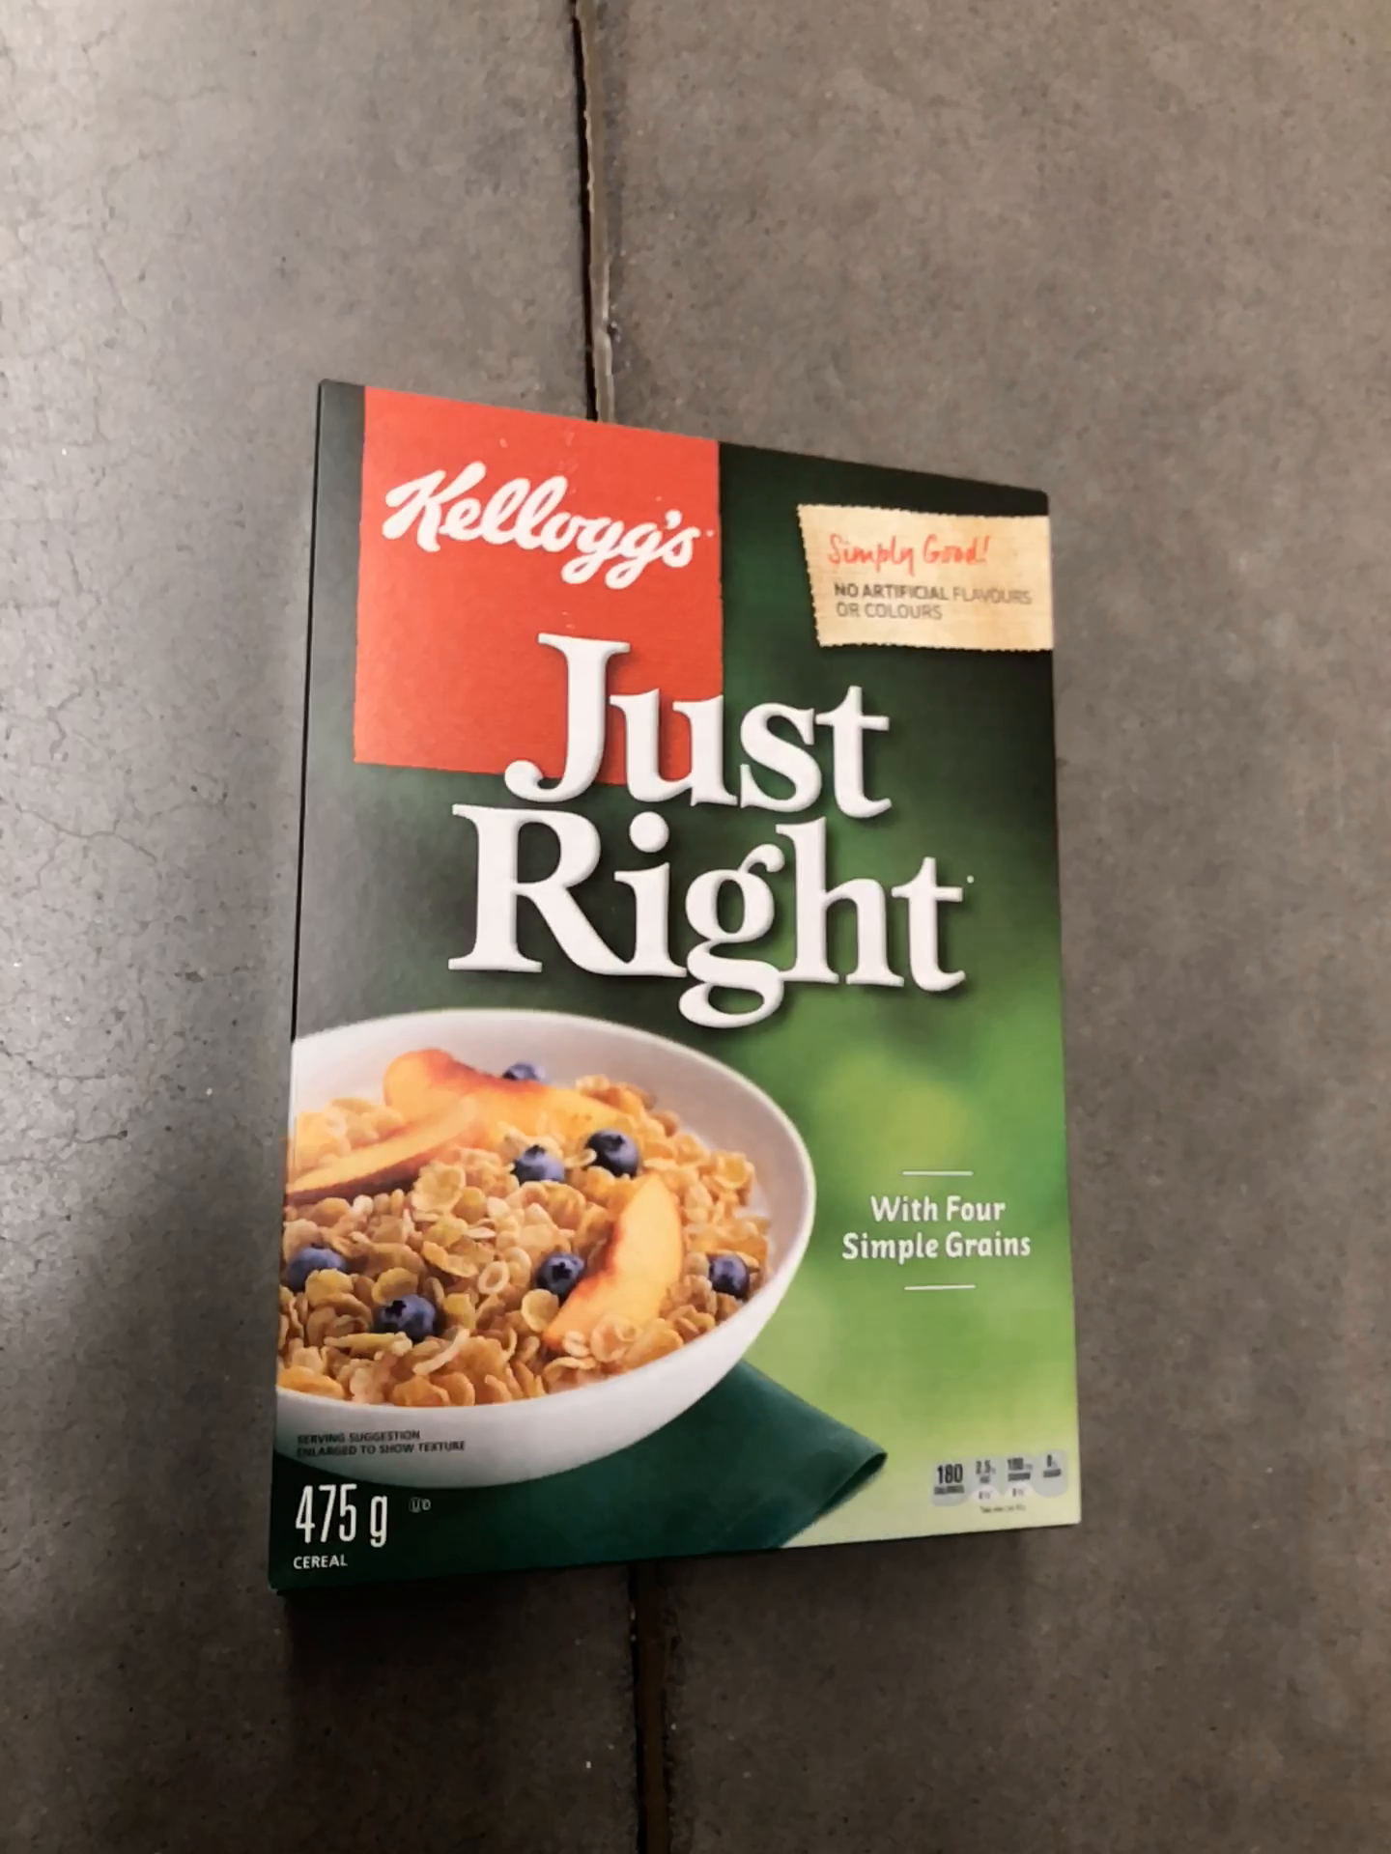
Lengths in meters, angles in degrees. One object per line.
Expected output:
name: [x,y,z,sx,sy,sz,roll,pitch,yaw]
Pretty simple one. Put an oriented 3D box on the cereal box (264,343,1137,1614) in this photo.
cereal box: [0.001,0.011,0.408,0.210,0.060,0.290,2,81,-17]
